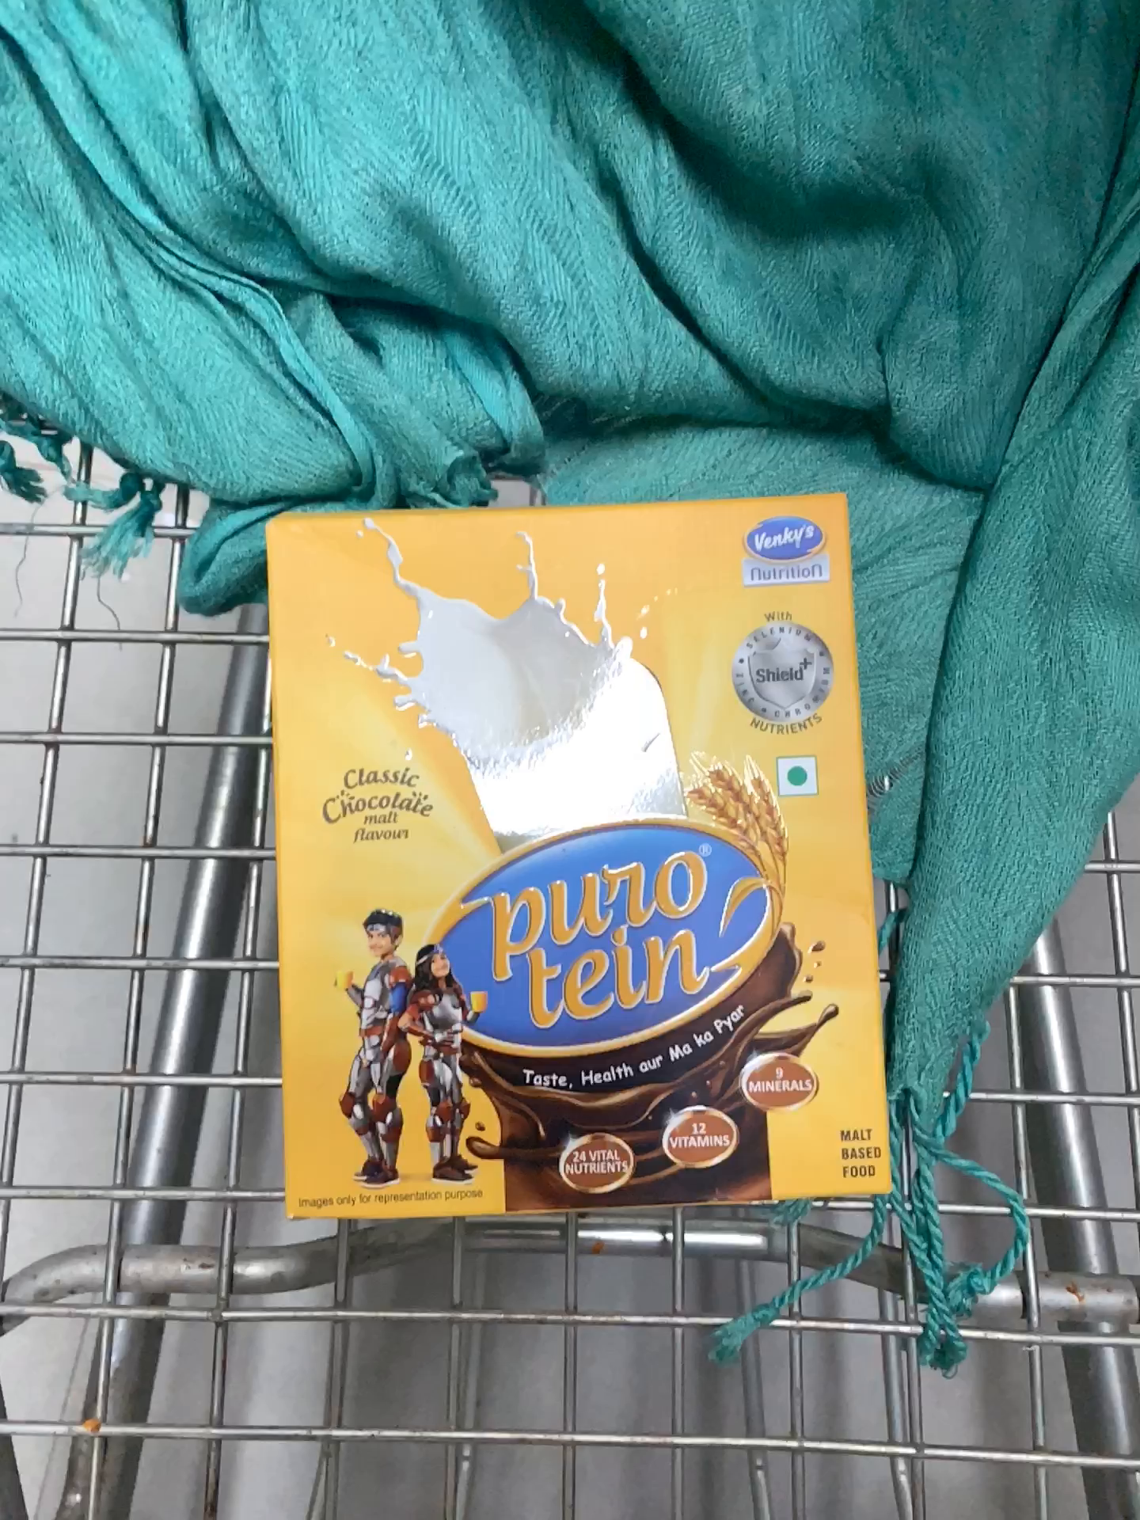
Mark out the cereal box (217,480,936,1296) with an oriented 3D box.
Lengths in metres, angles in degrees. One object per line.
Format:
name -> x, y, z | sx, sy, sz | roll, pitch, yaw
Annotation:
cereal box -> 0.000, 0.026, 0.267 | 0.140, 0.050, 0.160 | -3, 87, -2
